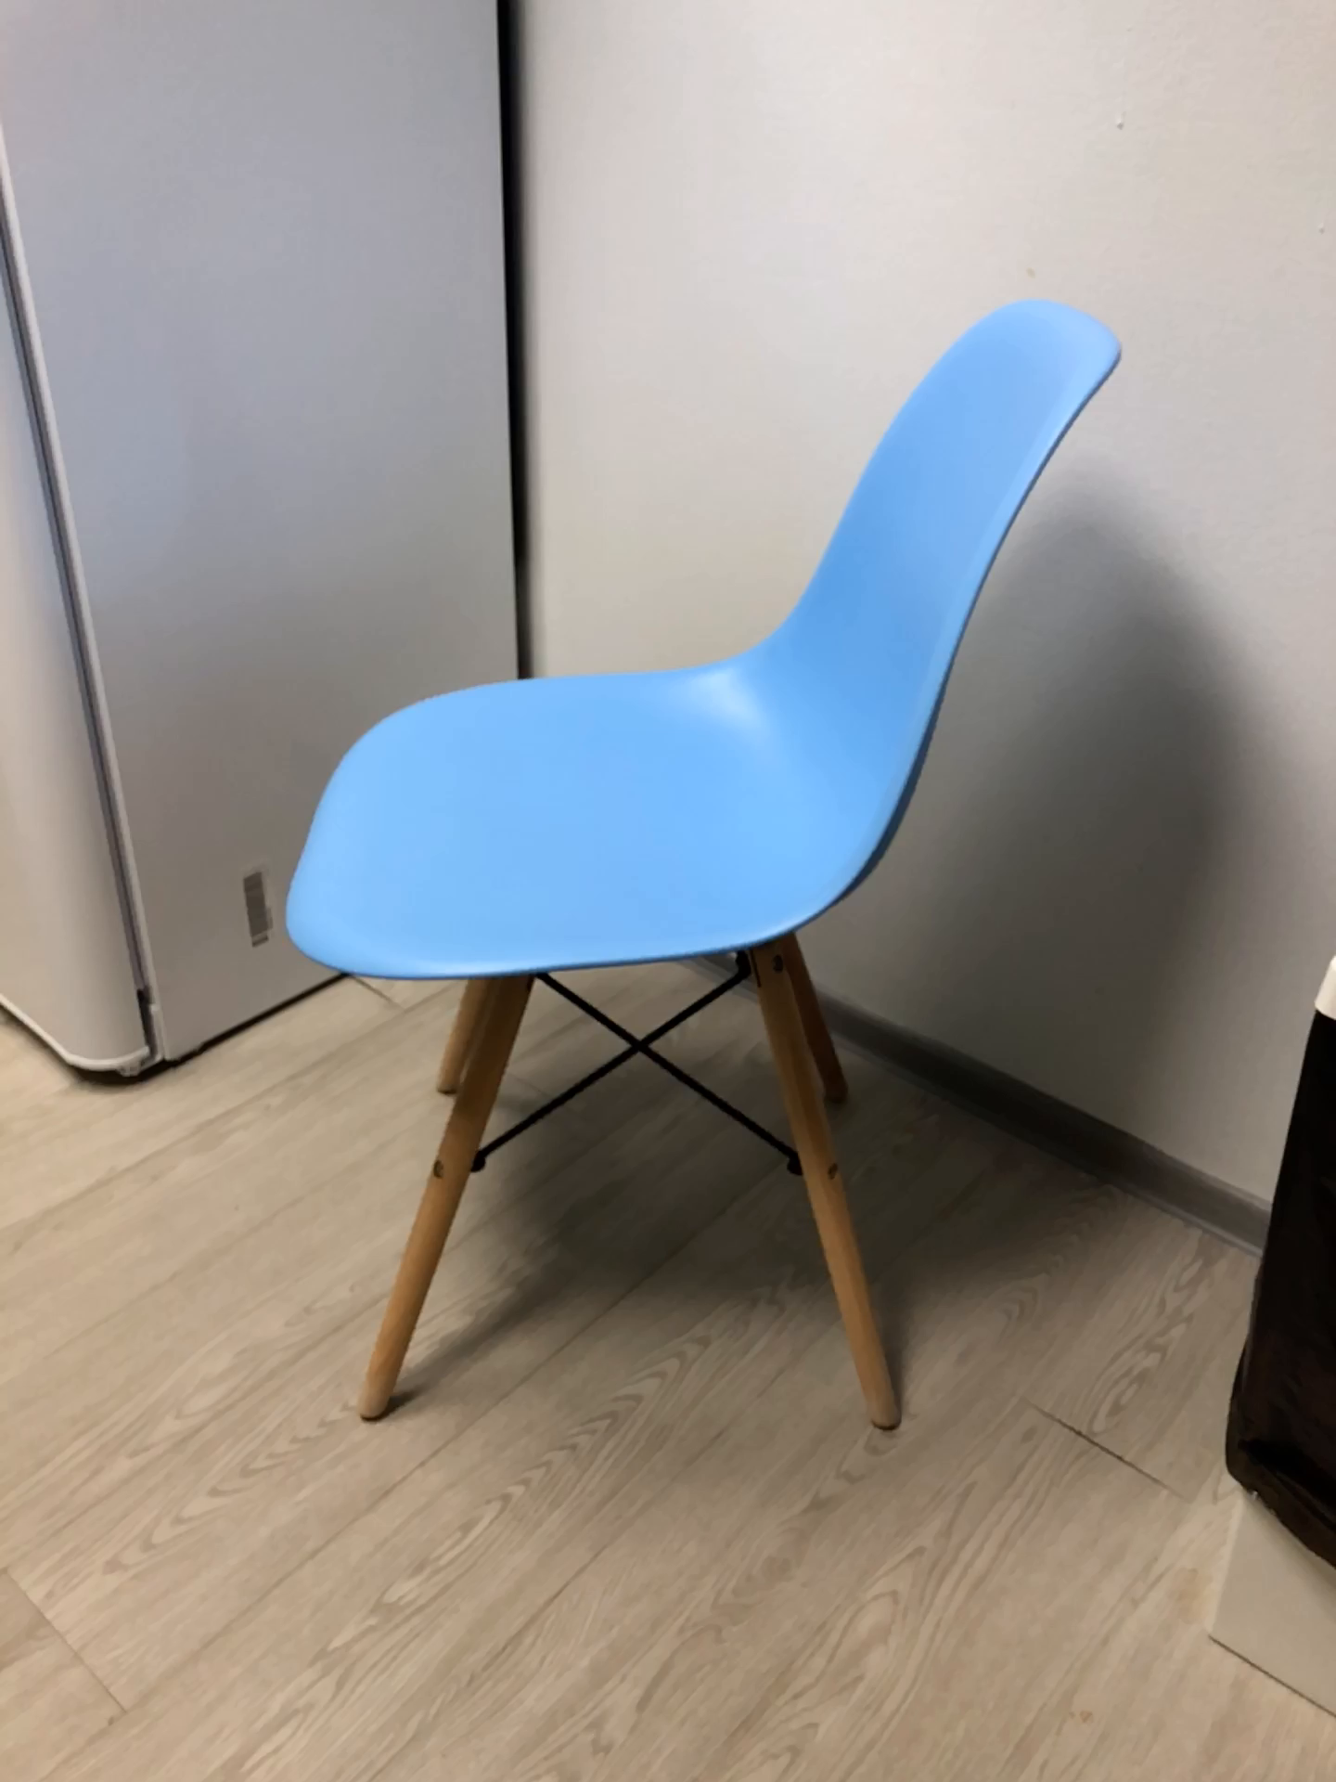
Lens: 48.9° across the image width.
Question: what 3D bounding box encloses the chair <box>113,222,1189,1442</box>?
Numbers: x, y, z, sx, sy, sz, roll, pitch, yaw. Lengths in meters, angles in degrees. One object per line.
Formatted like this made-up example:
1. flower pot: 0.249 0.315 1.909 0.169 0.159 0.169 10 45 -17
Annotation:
1. chair: -0.011 -0.050 1.115 0.530 0.775 0.463 2 30 1
